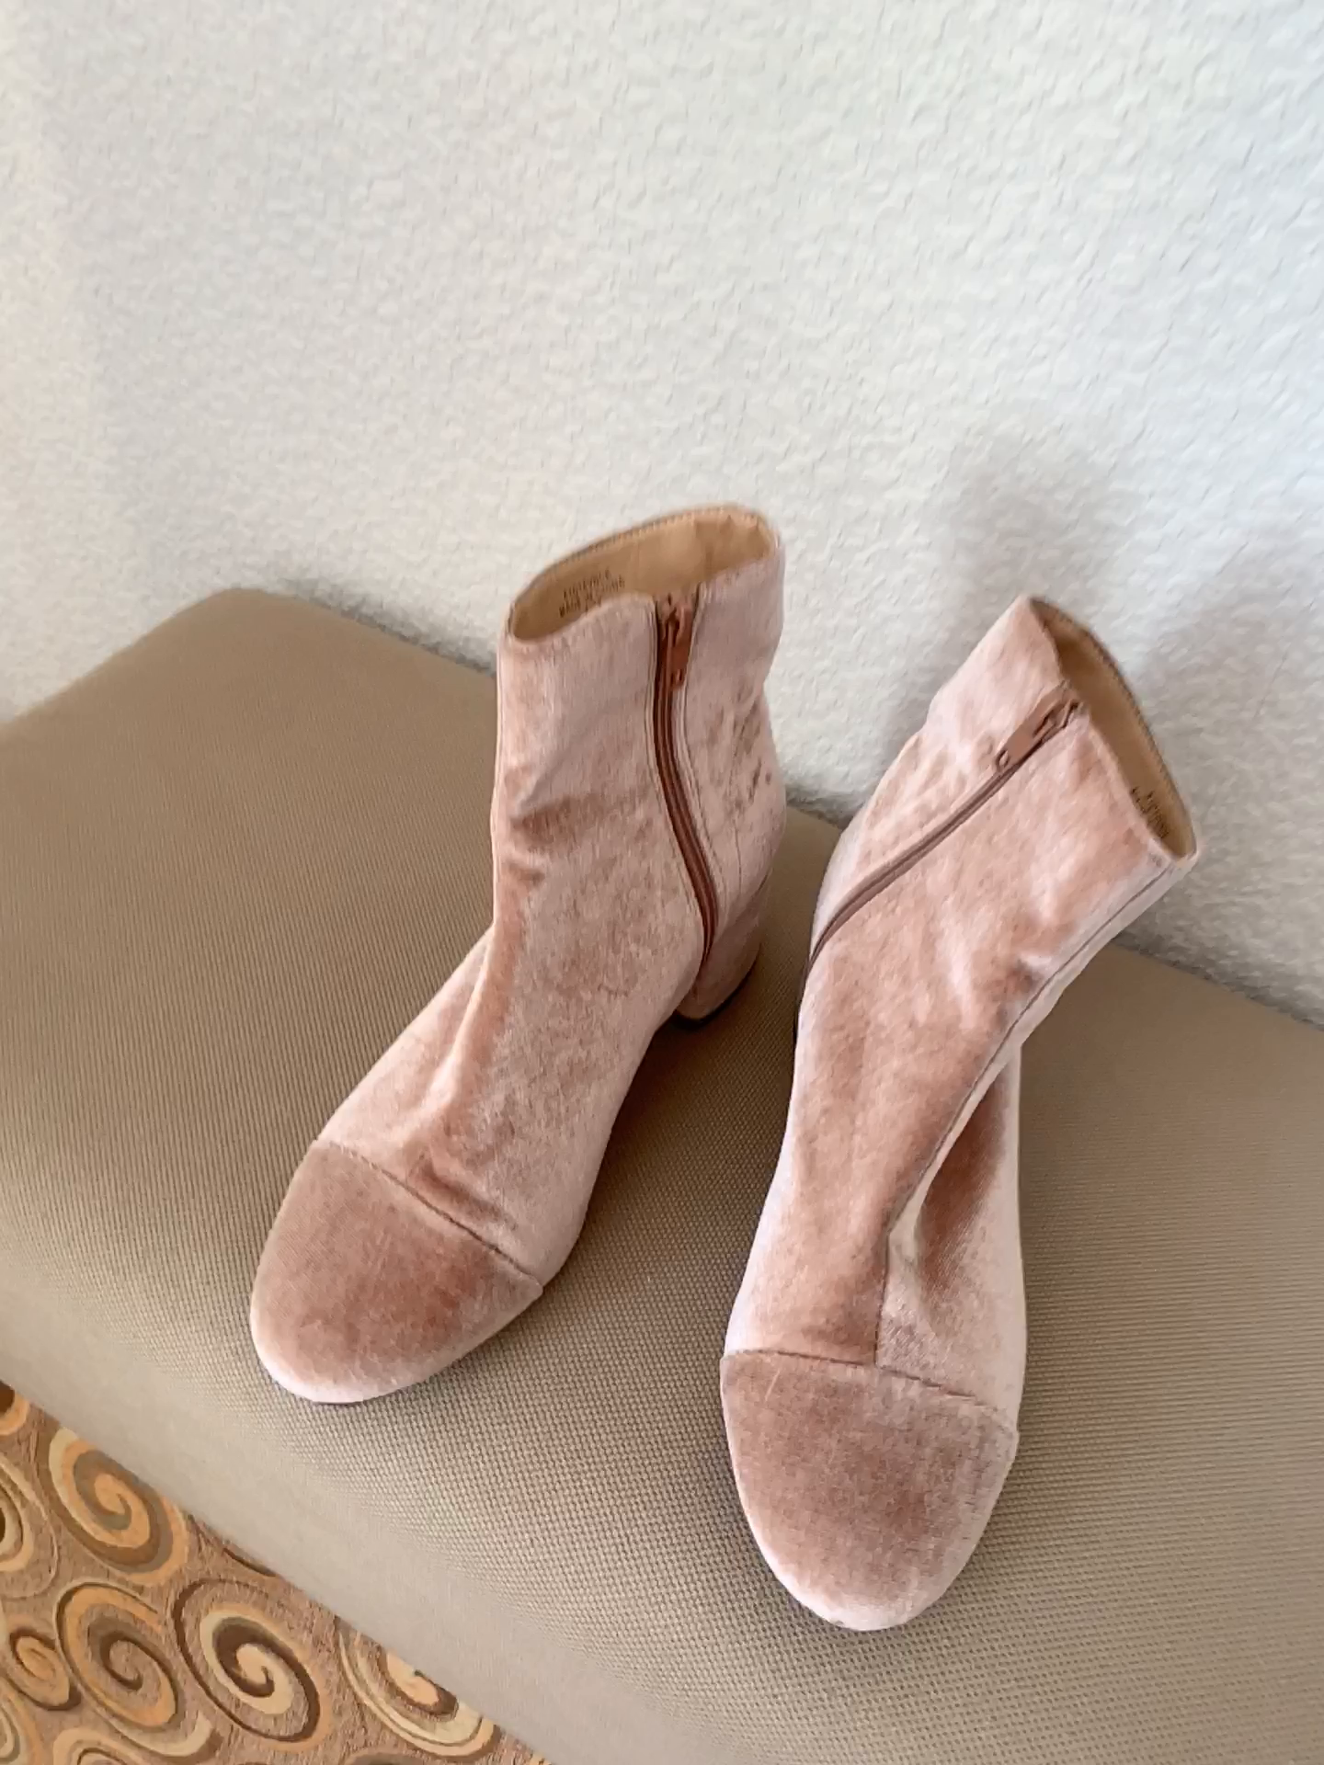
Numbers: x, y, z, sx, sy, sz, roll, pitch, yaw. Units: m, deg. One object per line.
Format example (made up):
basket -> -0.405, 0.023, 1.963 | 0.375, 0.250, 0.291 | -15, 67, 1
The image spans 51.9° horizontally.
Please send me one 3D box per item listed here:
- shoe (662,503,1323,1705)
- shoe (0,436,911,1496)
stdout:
shoe -> 0.082, 0.046, 0.382 | 0.100, 0.169, 0.271 | 11, 46, 4
shoe -> -0.040, 0.013, 0.383 | 0.100, 0.169, 0.231 | 26, 49, 18
